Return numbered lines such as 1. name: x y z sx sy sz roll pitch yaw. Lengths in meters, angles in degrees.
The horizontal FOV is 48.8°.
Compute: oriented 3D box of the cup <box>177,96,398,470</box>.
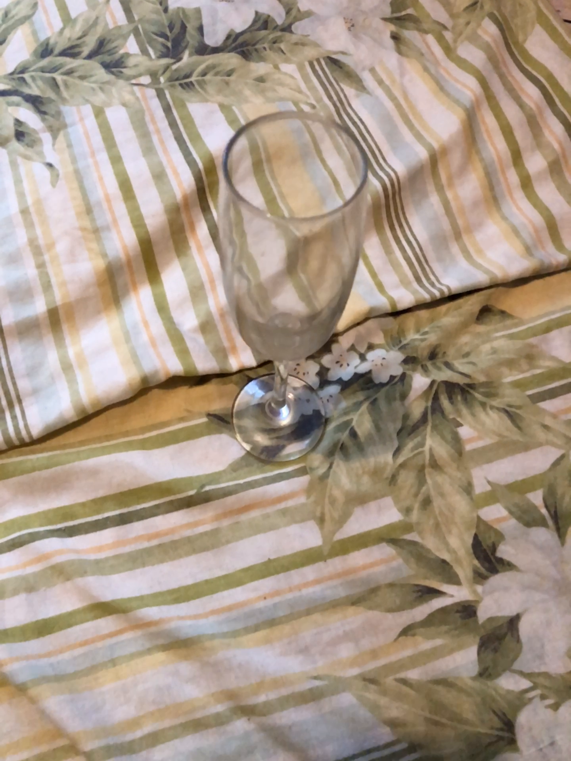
1. cup: -0.002 -0.025 0.319 0.071 0.218 0.082 -1 66 -1
